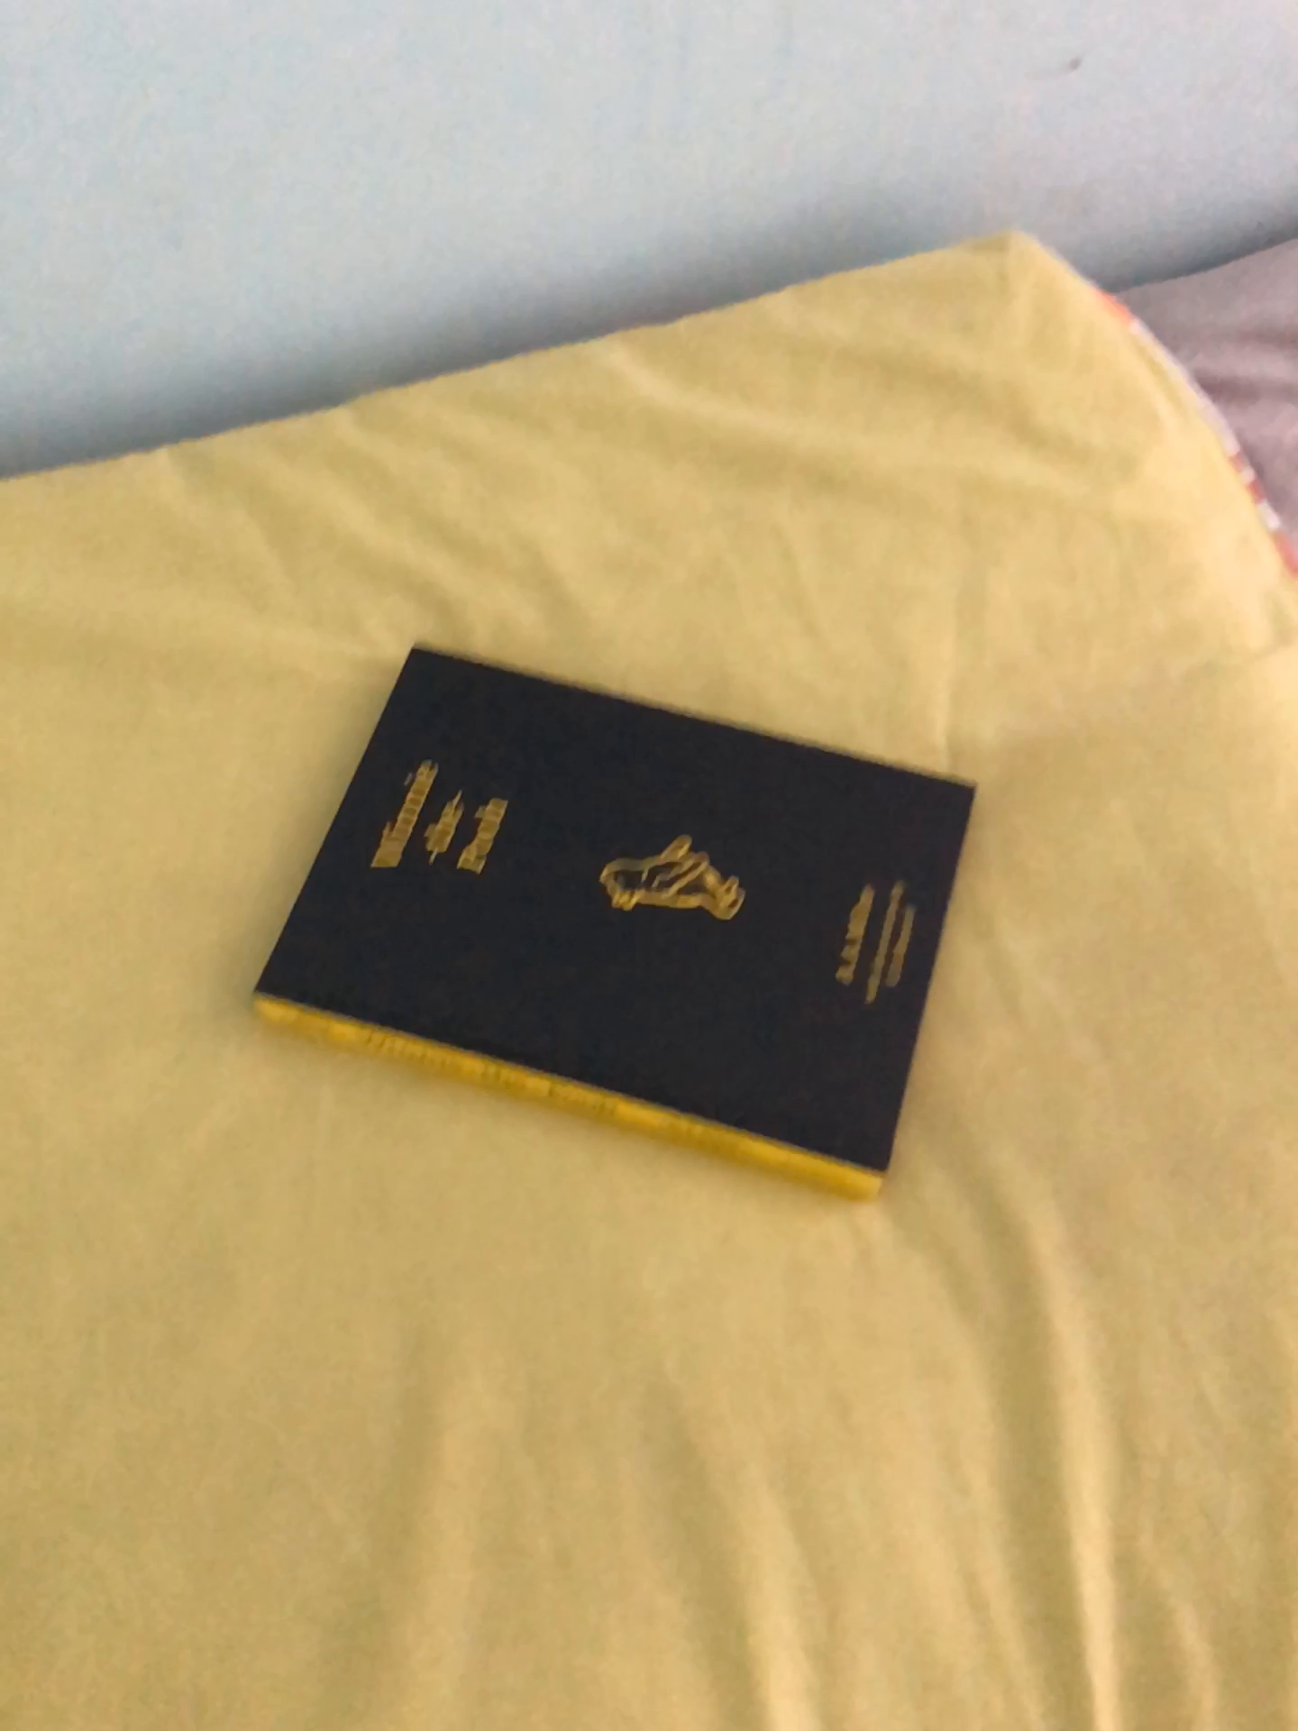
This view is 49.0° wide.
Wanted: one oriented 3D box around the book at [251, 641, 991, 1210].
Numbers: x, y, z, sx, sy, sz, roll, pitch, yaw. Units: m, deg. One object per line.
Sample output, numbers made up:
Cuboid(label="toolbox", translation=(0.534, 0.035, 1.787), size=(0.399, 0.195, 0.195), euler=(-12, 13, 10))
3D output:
Cuboid(label="book", translation=(-0.005, 0.014, 0.501), size=(0.220, 0.020, 0.151), euler=(16, 64, 7))
